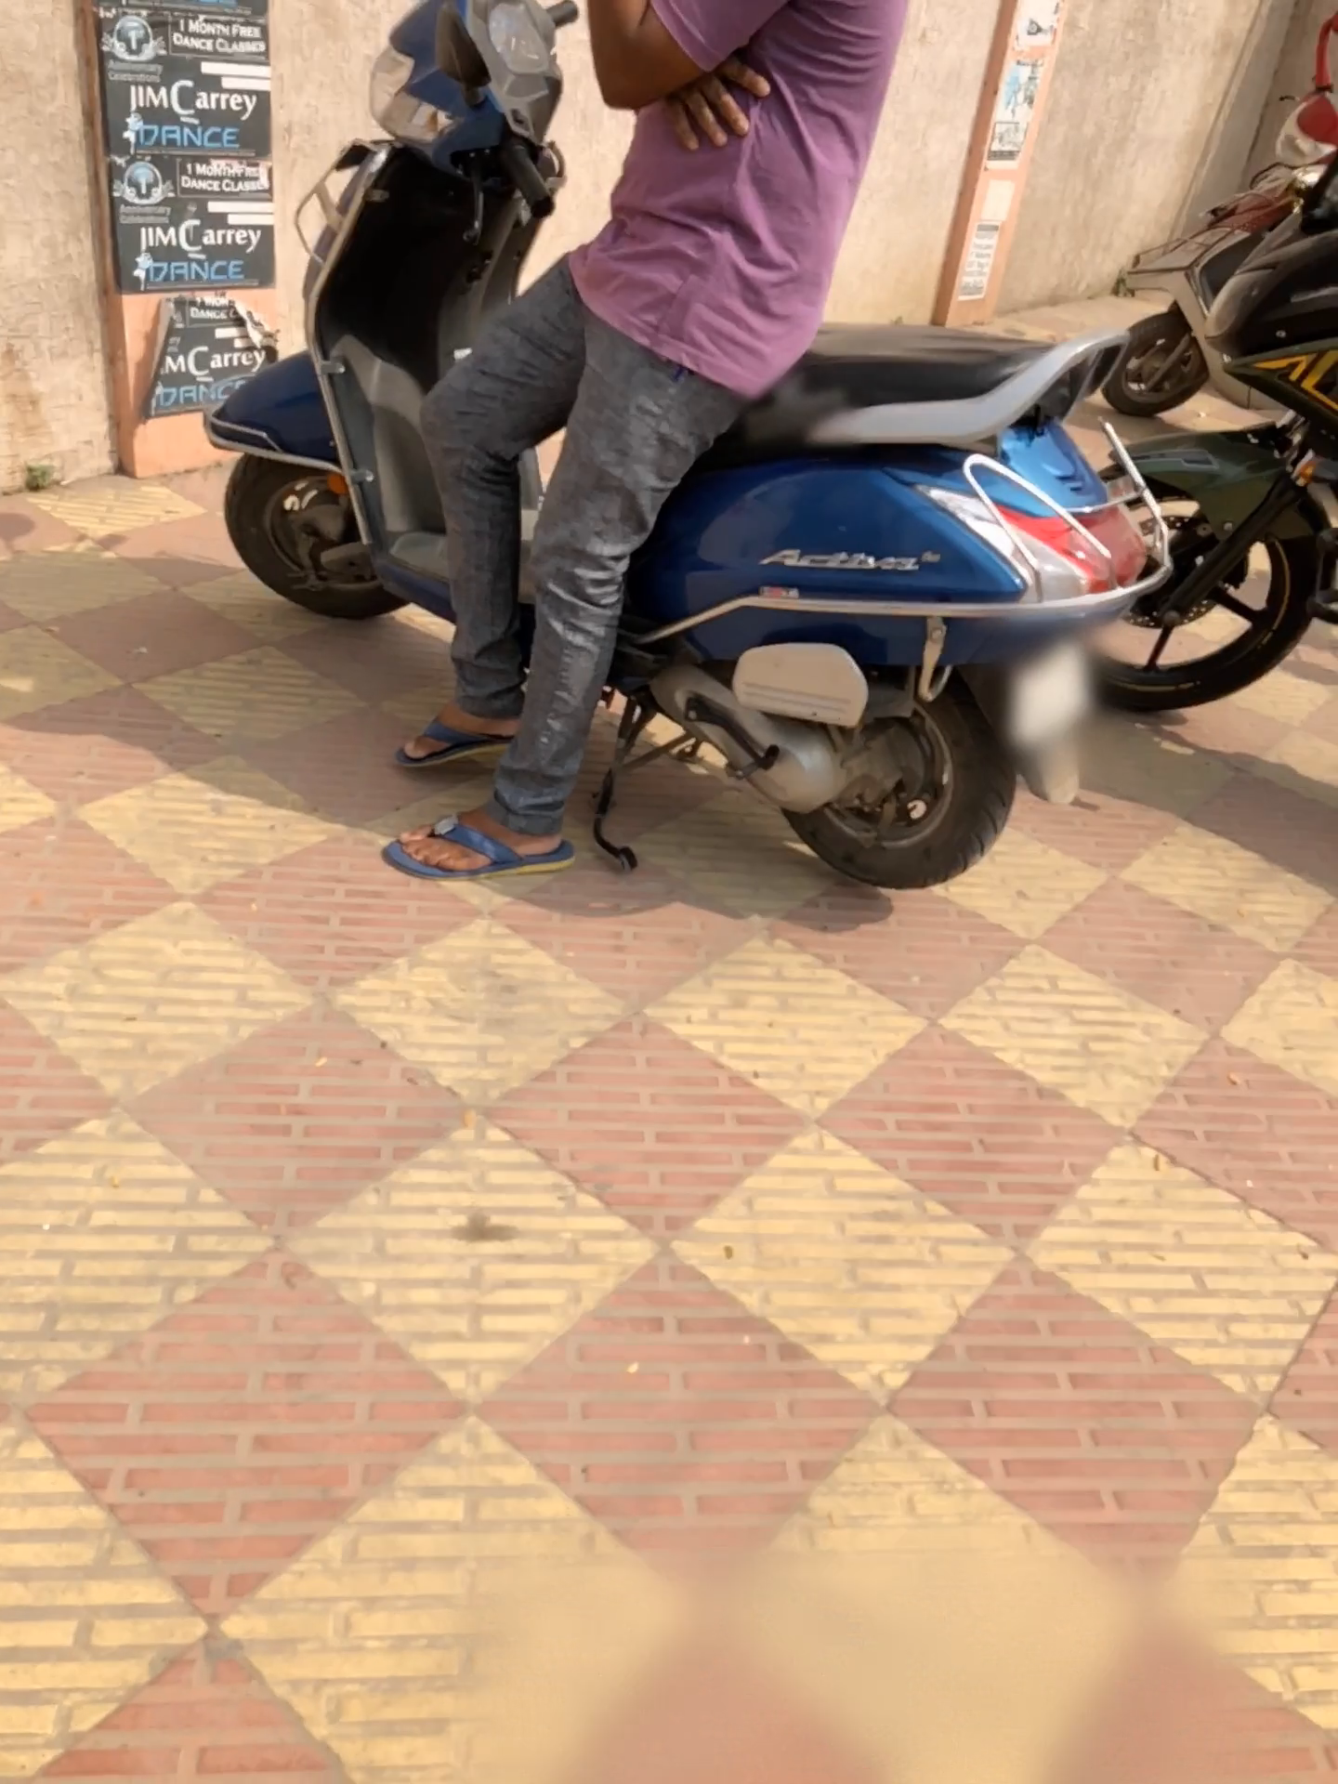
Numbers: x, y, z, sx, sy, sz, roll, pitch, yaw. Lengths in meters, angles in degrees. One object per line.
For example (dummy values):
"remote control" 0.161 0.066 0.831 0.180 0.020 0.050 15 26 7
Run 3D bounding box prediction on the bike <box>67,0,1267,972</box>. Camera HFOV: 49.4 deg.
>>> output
"bike" -0.125 -0.768 2.376 1.700 1.037 0.626 25 37 25
